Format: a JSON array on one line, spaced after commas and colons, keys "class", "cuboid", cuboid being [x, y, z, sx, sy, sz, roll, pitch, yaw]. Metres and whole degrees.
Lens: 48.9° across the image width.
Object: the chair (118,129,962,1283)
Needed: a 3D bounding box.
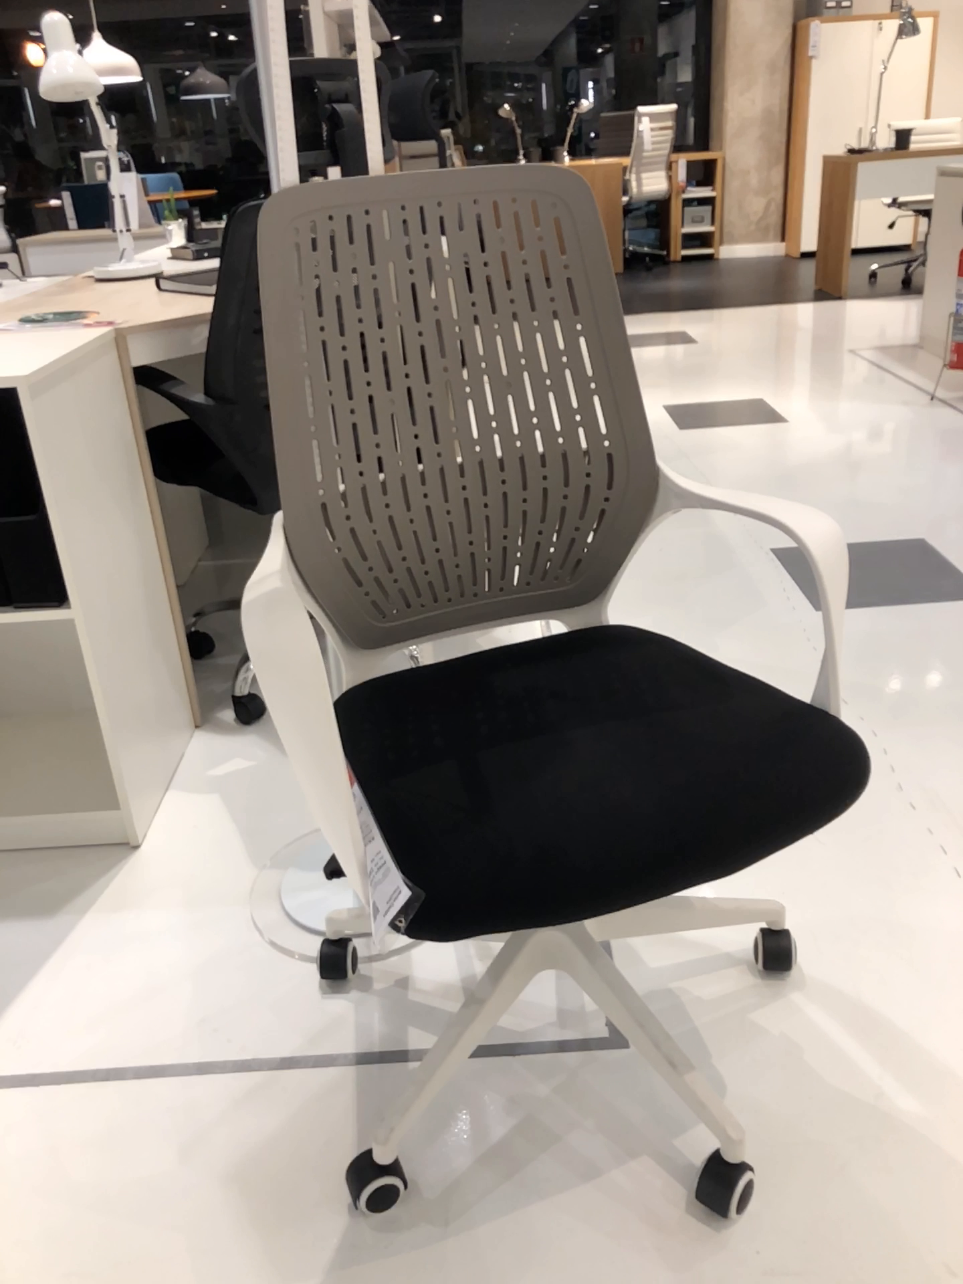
[{"class": "chair", "cuboid": [0.083, 0.035, 1.140, 0.691, 1.003, 0.674, -12, 26, -17]}]
